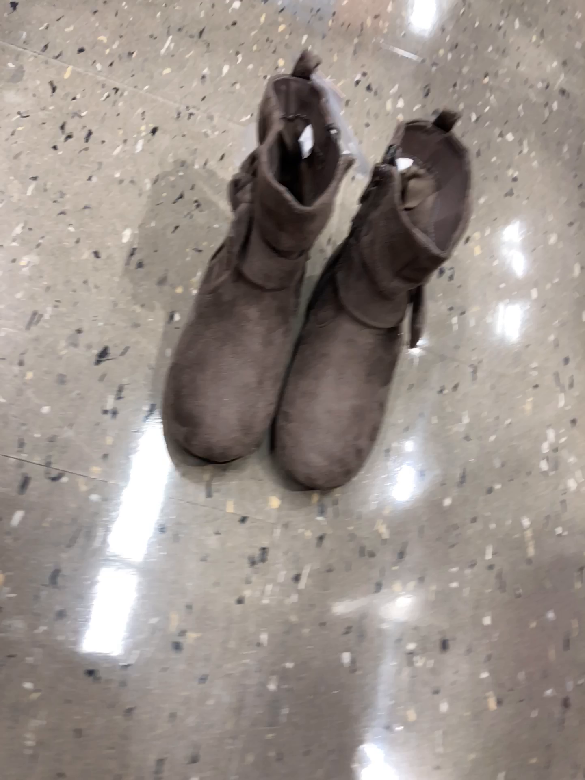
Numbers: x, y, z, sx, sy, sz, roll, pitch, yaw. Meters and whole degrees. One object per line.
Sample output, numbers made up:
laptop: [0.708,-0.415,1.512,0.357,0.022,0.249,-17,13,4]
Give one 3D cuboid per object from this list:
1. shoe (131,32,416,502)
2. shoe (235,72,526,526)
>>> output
shoe: [-0.016,-0.059,0.374,0.080,0.160,0.200,20,64,-7]
shoe: [0.047,-0.043,0.383,0.080,0.160,0.200,20,64,-7]
